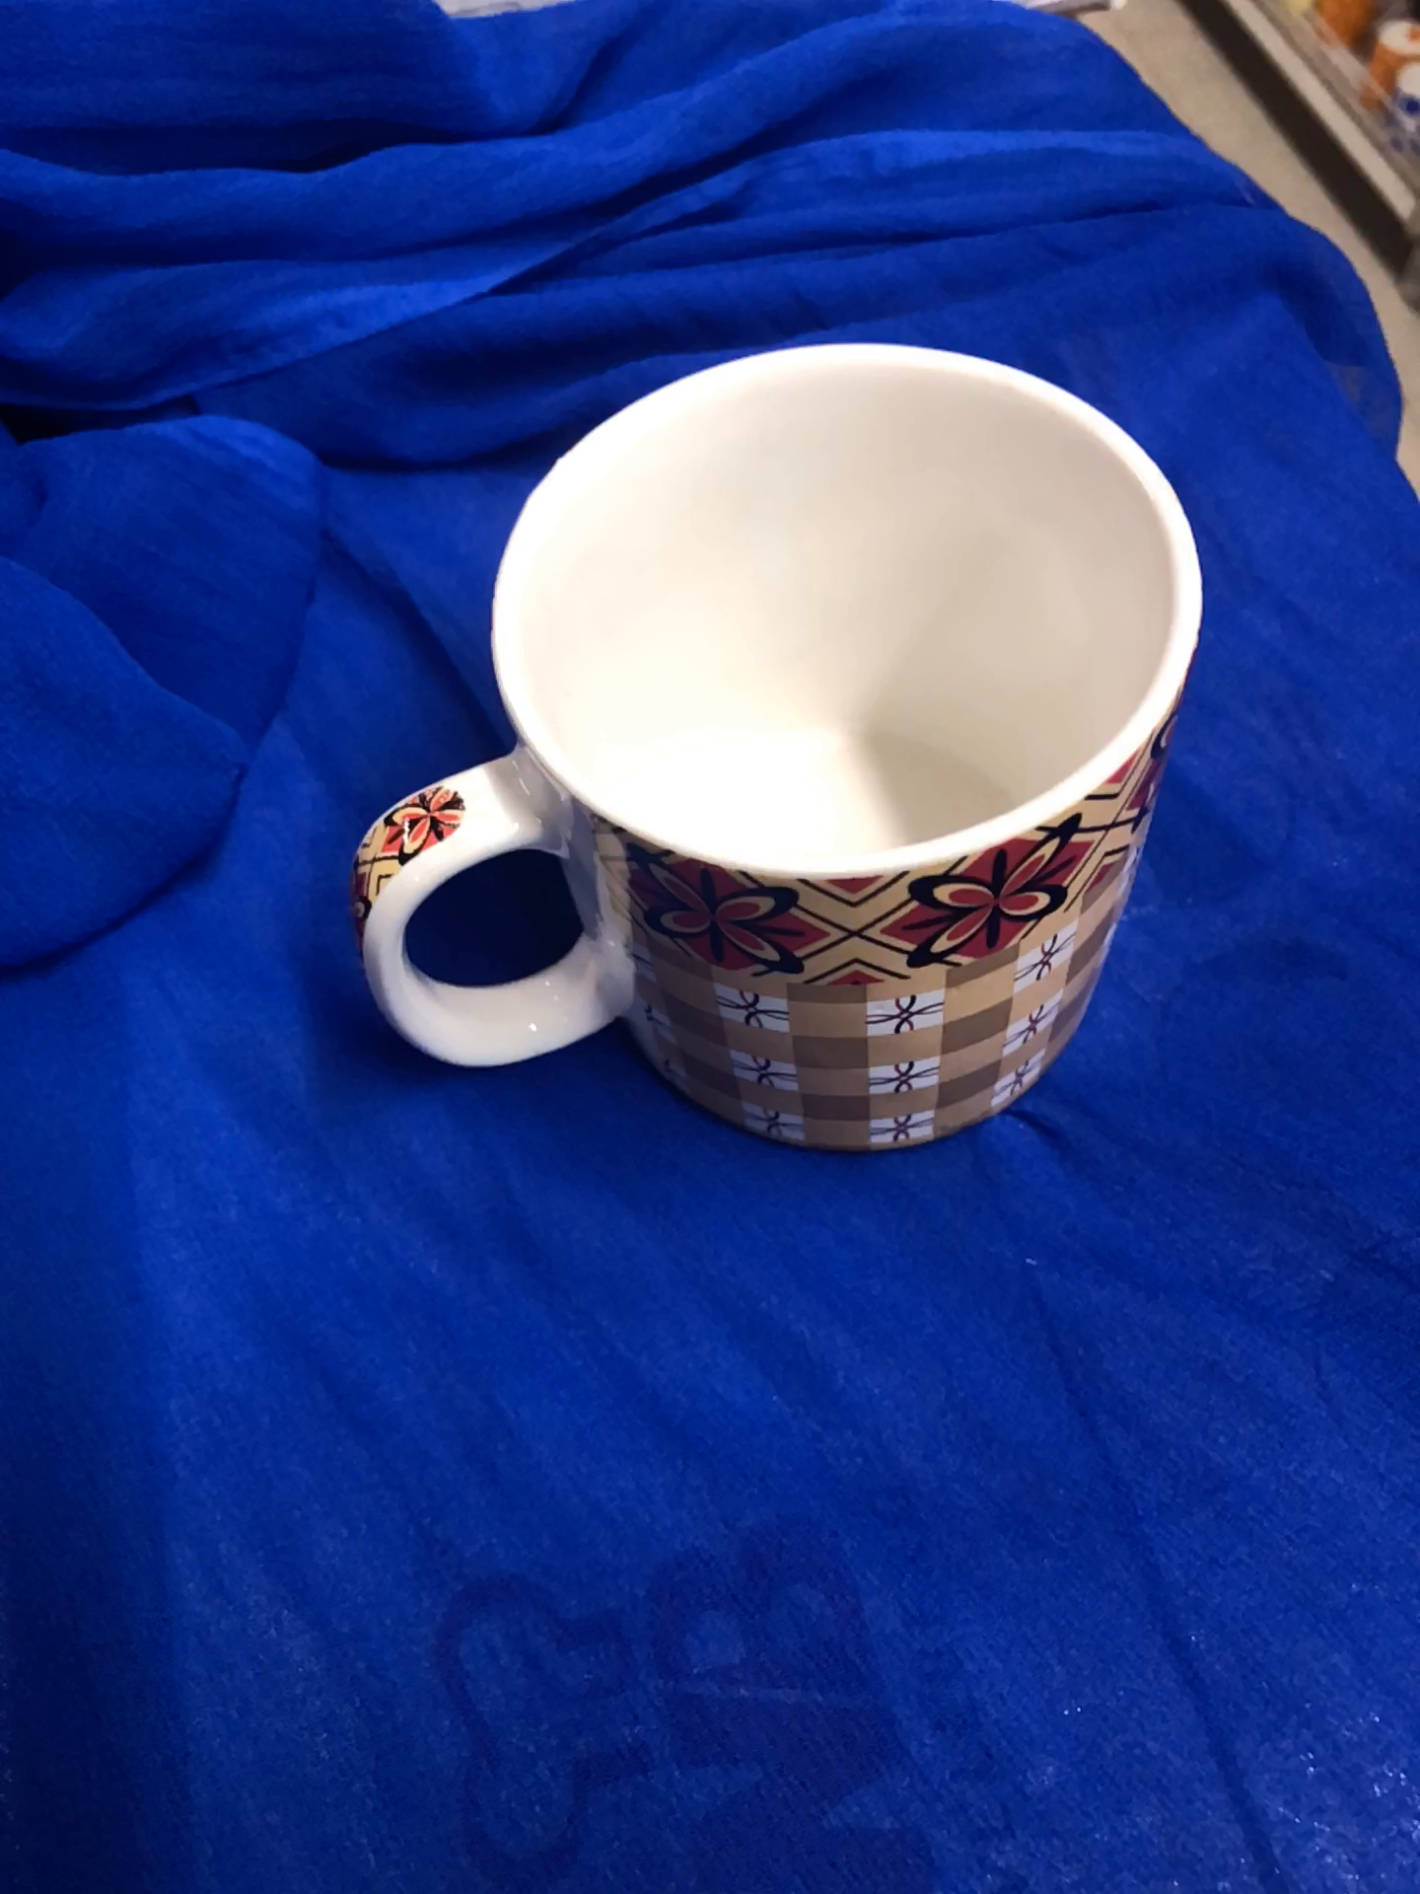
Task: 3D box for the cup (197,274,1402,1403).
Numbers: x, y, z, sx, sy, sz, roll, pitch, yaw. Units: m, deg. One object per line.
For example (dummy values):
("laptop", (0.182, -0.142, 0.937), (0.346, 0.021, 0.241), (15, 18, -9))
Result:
("cup", (0.007, -0.008, 0.202), (0.100, 0.100, 0.070), (-19, 60, -11))
